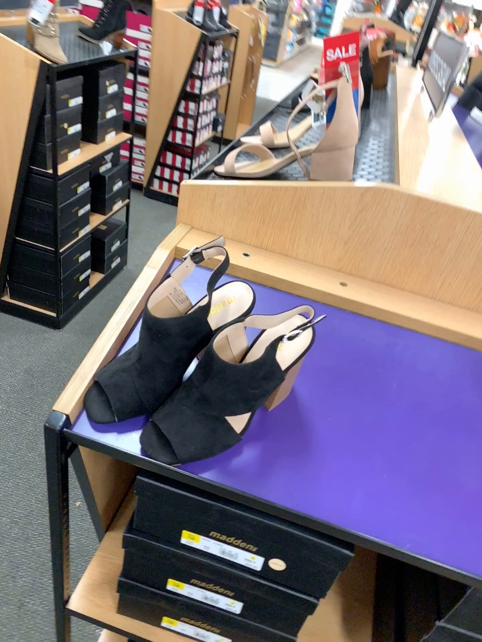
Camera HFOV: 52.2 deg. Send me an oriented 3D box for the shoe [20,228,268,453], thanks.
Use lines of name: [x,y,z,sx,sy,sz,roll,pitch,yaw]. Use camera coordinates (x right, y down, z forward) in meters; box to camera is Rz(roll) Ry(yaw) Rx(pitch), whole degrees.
shoe: [-0.092,0.021,0.535,0.220,0.139,0.080,-30,50,-15]

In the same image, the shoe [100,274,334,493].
shoe: [-0.016,0.059,0.514,0.221,0.109,0.080,-30,51,-23]
